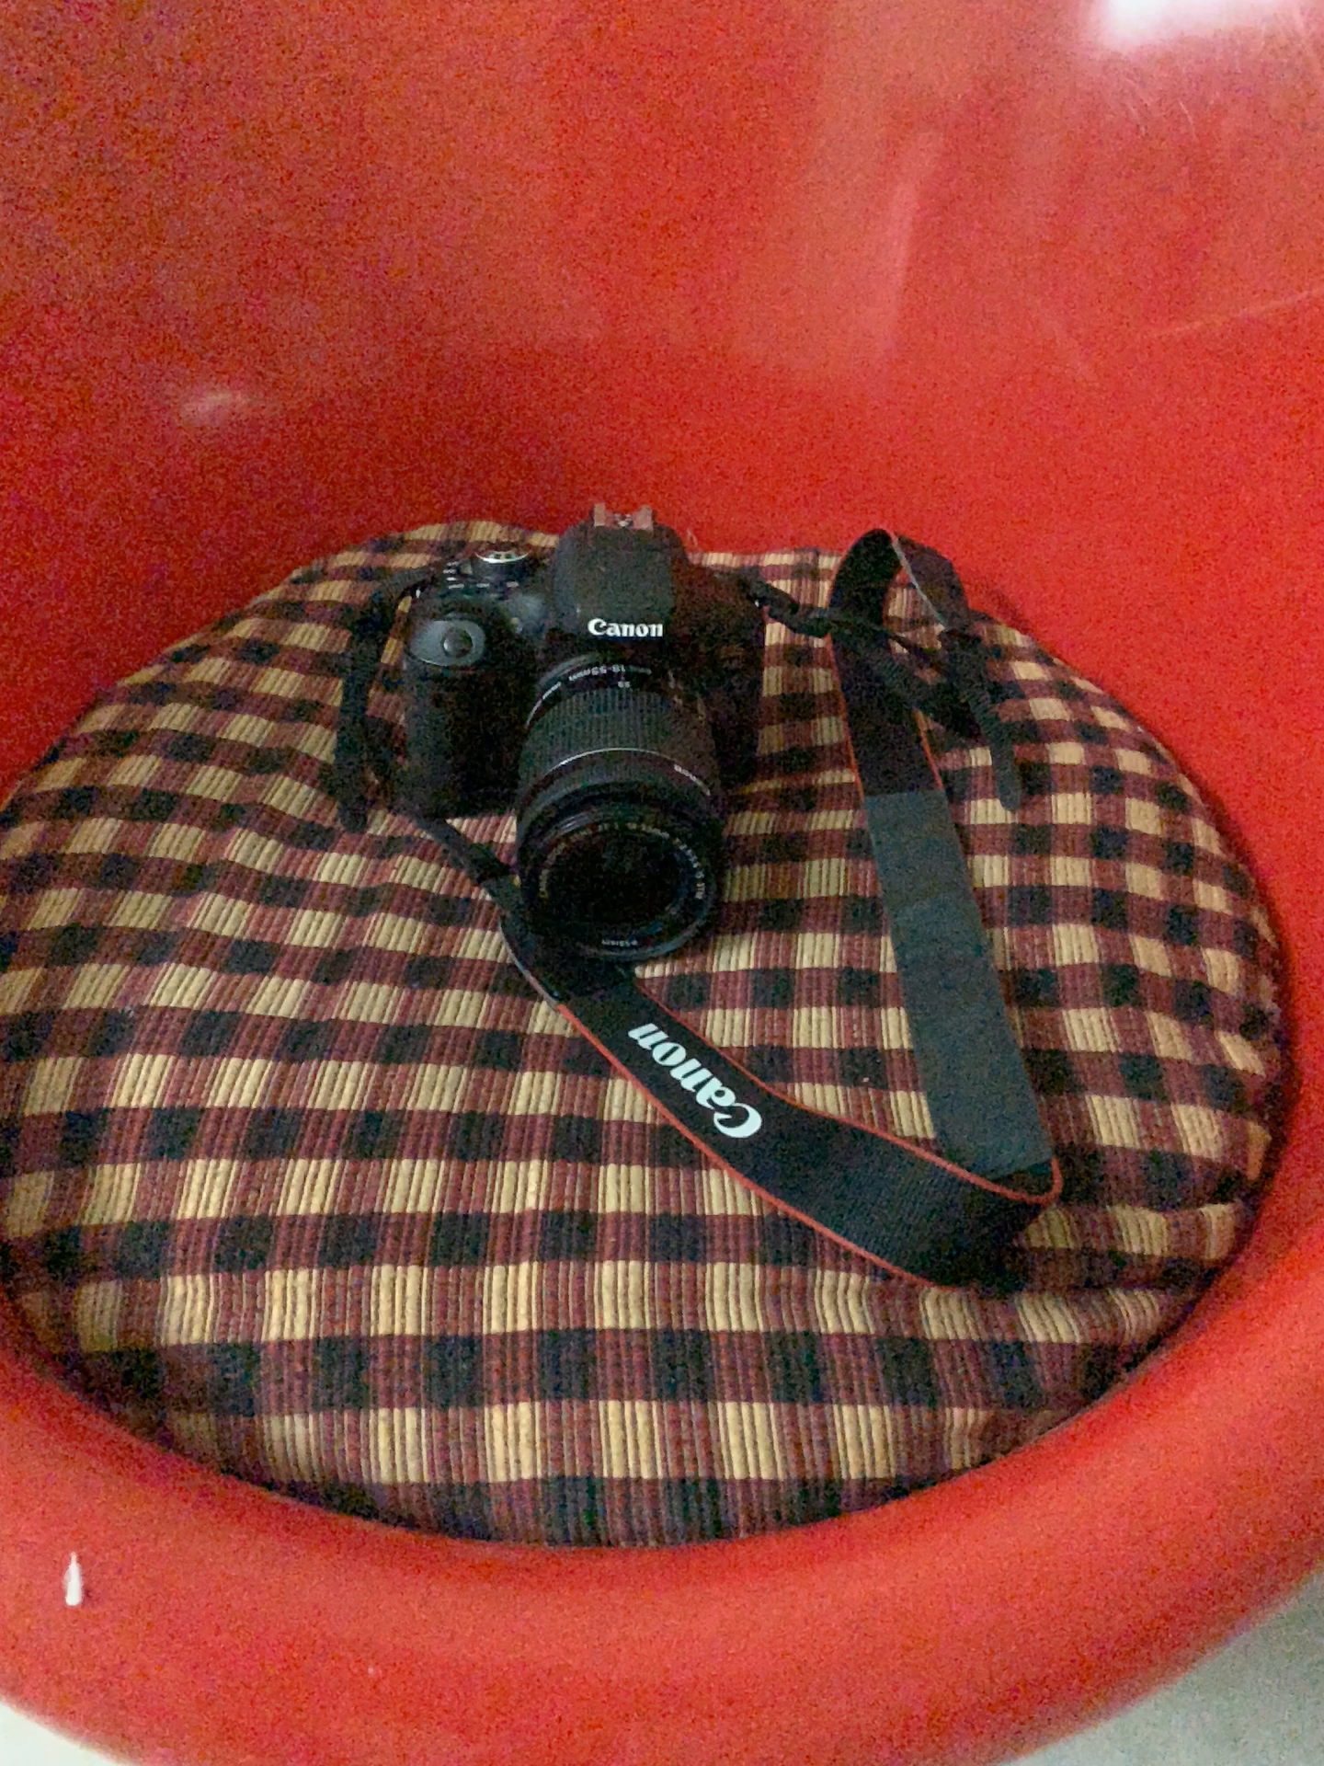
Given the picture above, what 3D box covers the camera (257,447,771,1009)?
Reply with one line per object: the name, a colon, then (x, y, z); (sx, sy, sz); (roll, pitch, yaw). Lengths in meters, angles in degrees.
camera: (-0.043, -0.054, 0.464); (0.140, 0.129, 0.139); (1, 44, -2)
